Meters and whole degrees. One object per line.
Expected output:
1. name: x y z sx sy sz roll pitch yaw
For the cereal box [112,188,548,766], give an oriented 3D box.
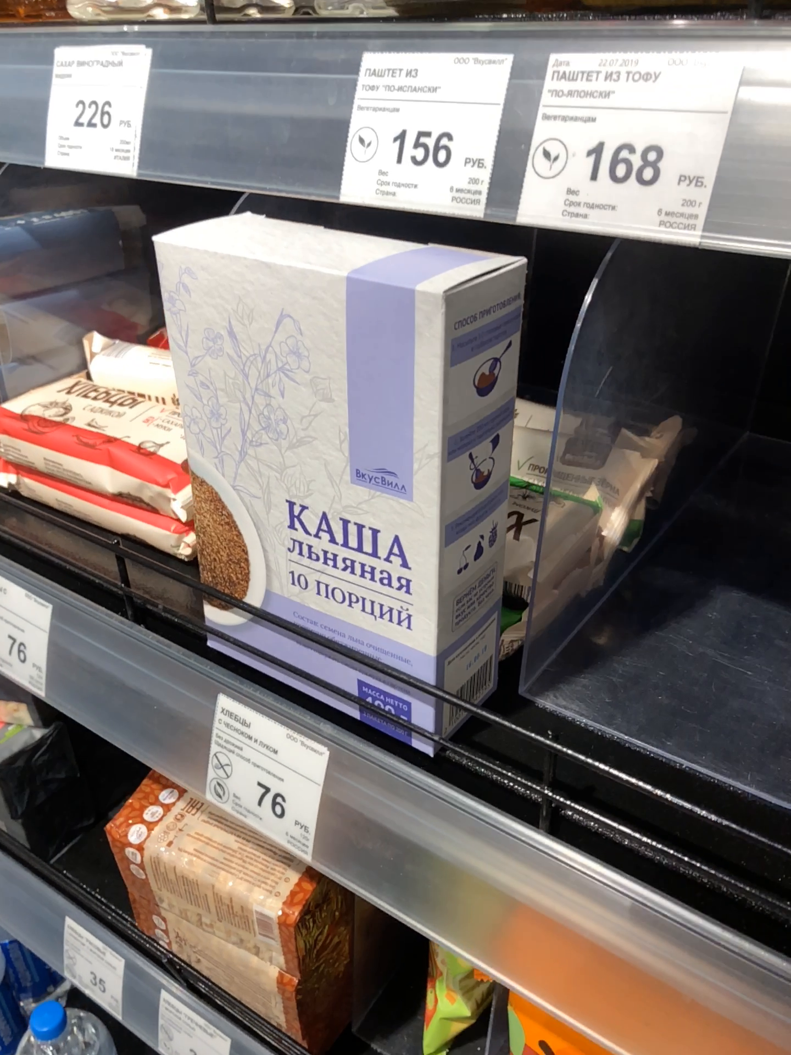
1. cereal box: -0.027 -0.023 0.343 0.150 0.189 0.050 19 35 31
